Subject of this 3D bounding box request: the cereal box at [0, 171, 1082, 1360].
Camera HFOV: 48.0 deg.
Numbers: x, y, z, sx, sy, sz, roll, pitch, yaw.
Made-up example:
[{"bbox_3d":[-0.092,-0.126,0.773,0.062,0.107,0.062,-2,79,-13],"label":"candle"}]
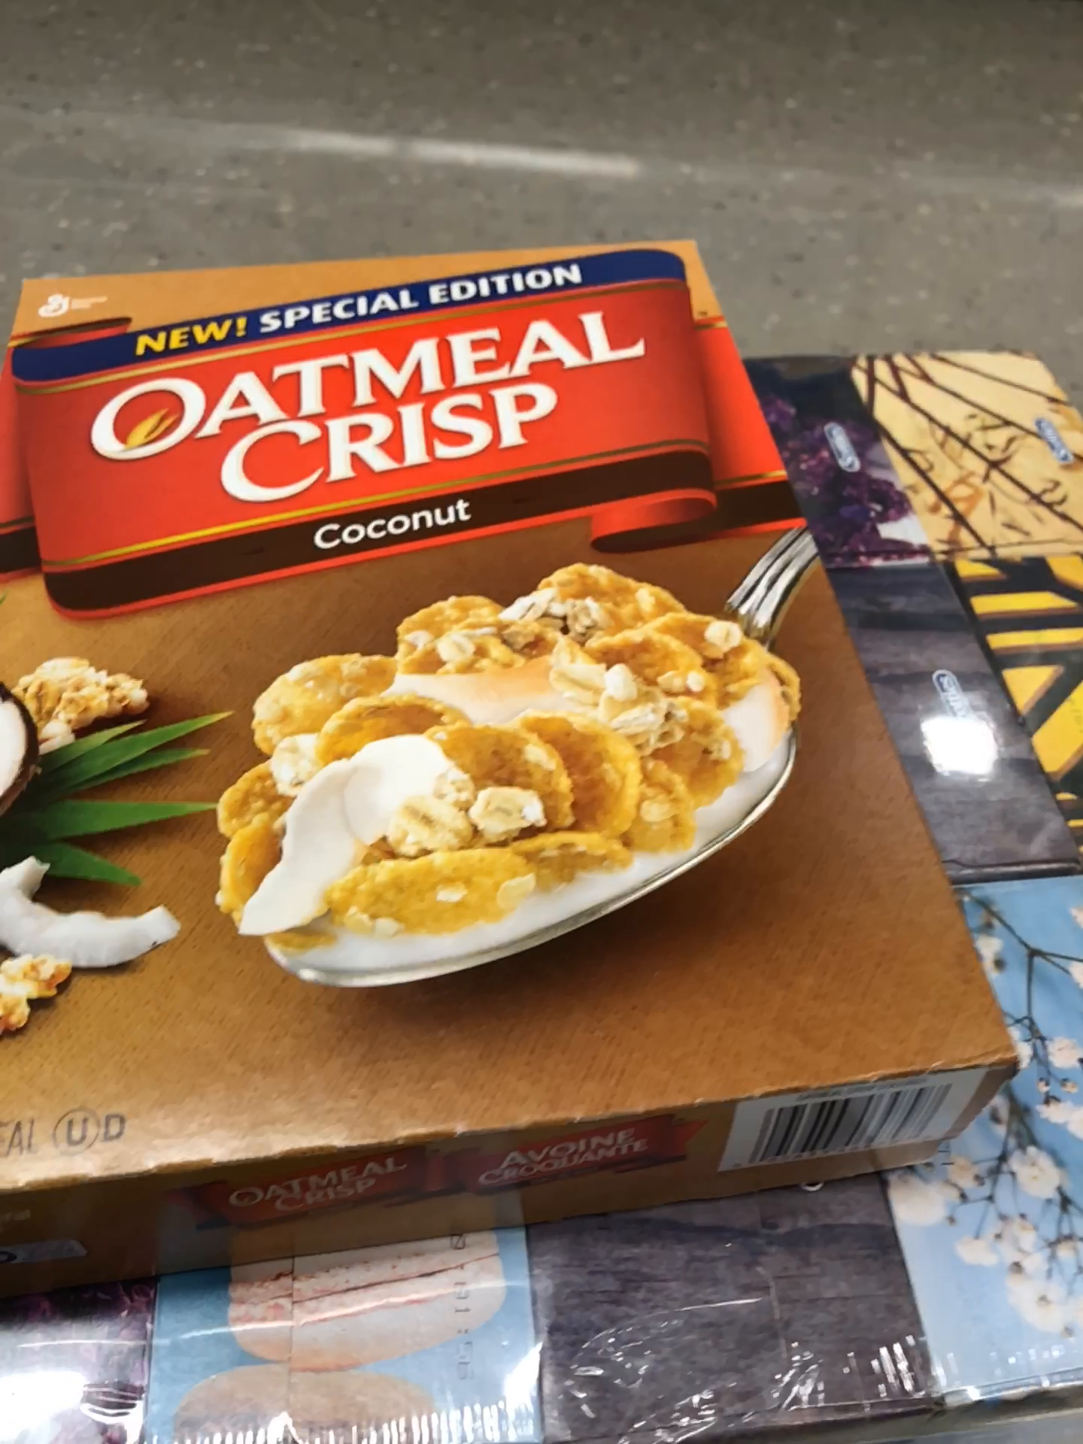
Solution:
[{"bbox_3d":[-0.042,-0.029,0.289,0.210,0.060,0.291,-7,47,-2],"label":"cereal box"}]
